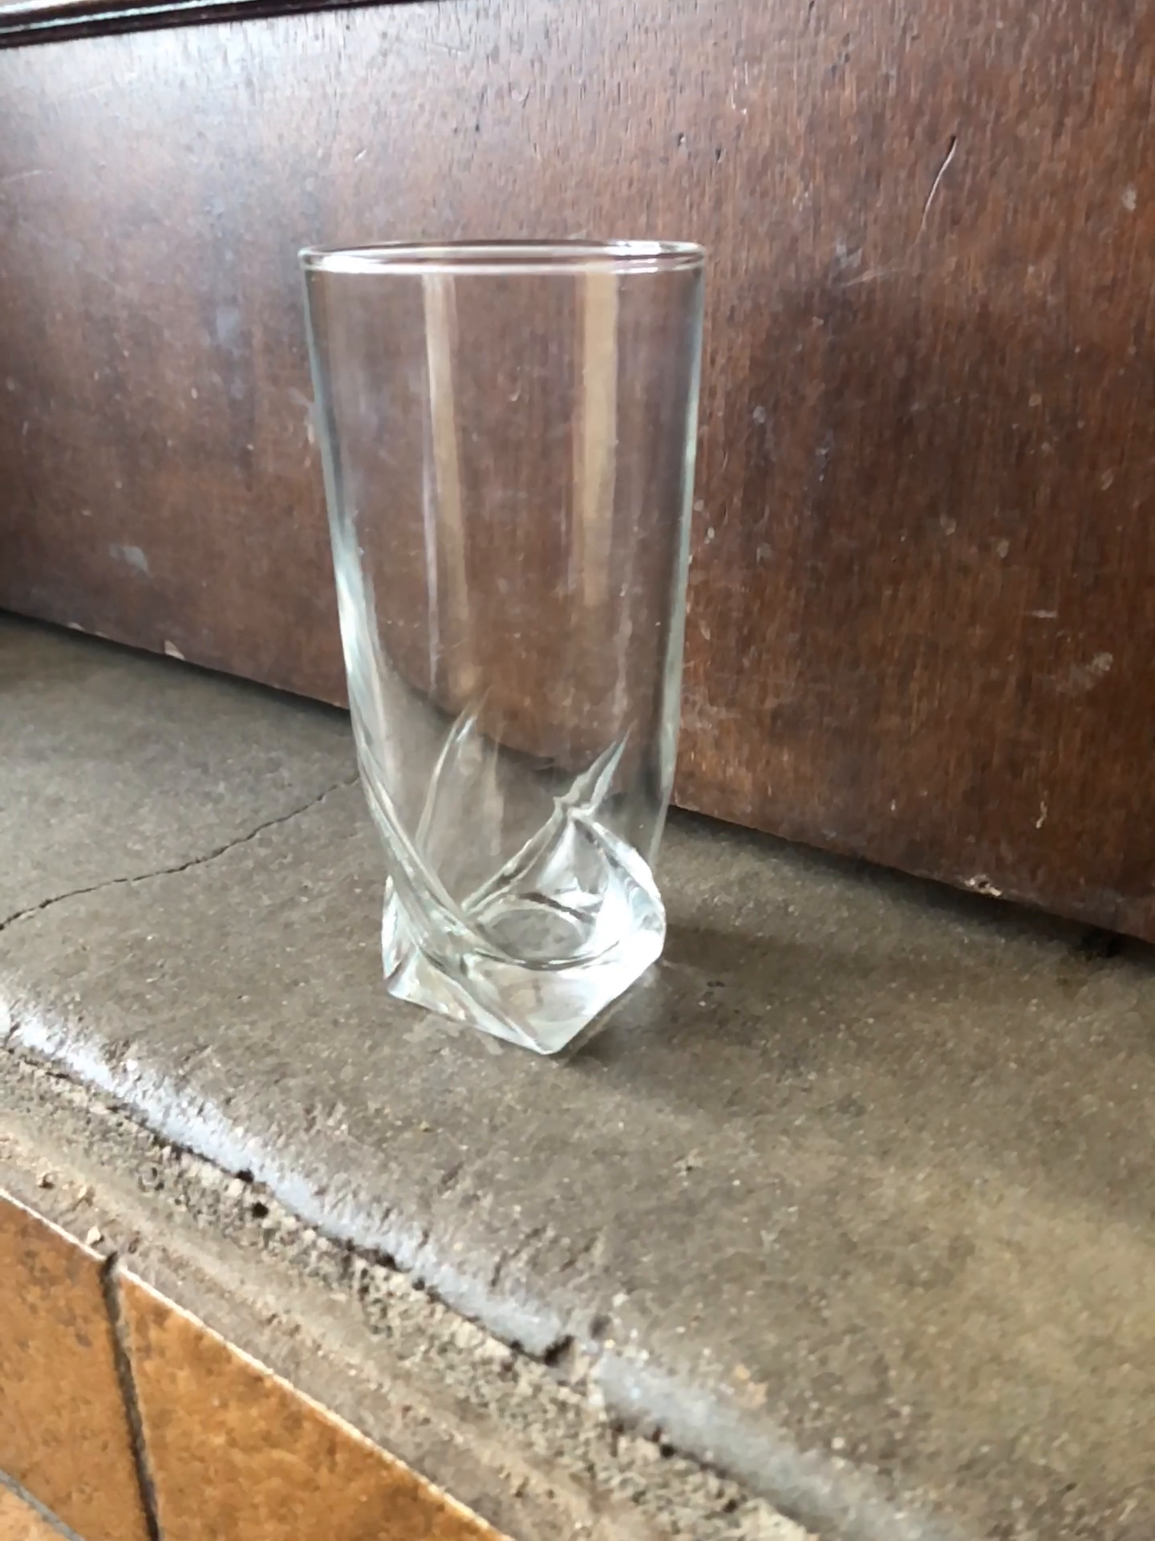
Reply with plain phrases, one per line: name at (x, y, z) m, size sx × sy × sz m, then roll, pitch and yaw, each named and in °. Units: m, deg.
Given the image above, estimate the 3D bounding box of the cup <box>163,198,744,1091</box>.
cup at (-0.018, -0.027, 0.232) m, size 0.070 × 0.139 × 0.060 m, roll 14°, pitch 28°, yaw 30°
